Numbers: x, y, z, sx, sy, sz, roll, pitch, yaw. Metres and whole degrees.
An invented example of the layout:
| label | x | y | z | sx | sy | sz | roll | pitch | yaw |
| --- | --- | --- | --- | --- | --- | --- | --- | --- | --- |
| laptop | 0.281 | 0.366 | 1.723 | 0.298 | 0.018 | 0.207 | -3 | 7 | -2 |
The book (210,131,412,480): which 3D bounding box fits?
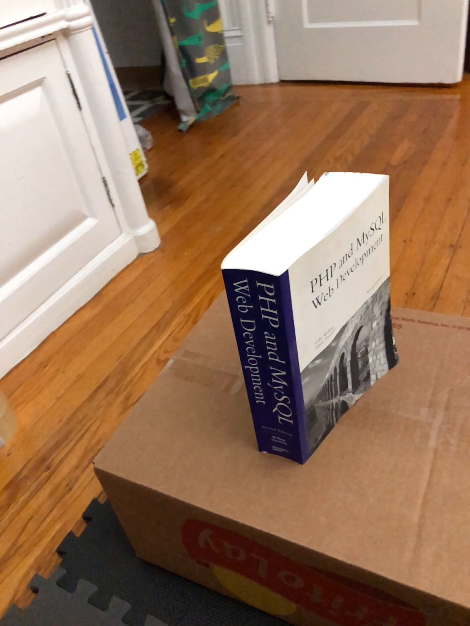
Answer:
| label | x | y | z | sx | sy | sz | roll | pitch | yaw |
| --- | --- | --- | --- | --- | --- | --- | --- | --- | --- |
| book | 0.088 | -0.009 | 0.504 | 0.090 | 0.258 | 0.201 | 15 | 44 | 28 |
